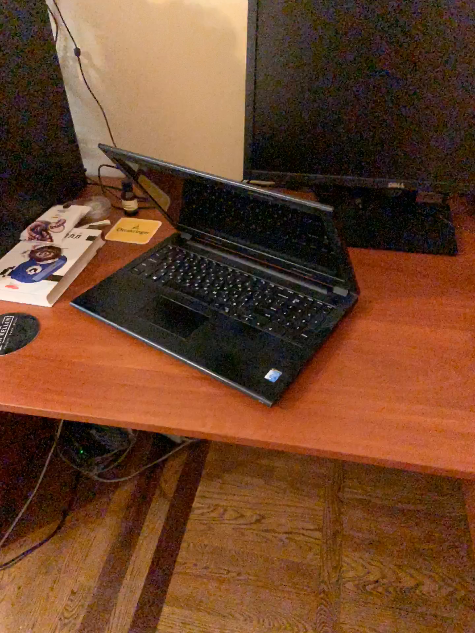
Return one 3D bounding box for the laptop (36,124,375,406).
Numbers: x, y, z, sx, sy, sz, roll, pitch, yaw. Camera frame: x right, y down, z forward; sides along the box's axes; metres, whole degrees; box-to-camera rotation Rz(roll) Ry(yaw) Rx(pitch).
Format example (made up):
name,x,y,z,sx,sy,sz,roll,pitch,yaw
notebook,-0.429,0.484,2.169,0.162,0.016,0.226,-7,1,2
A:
name,x,y,z,sx,sy,sz,roll,pitch,yaw
laptop,-0.043,-0.101,0.698,0.374,0.202,0.246,23,47,26
